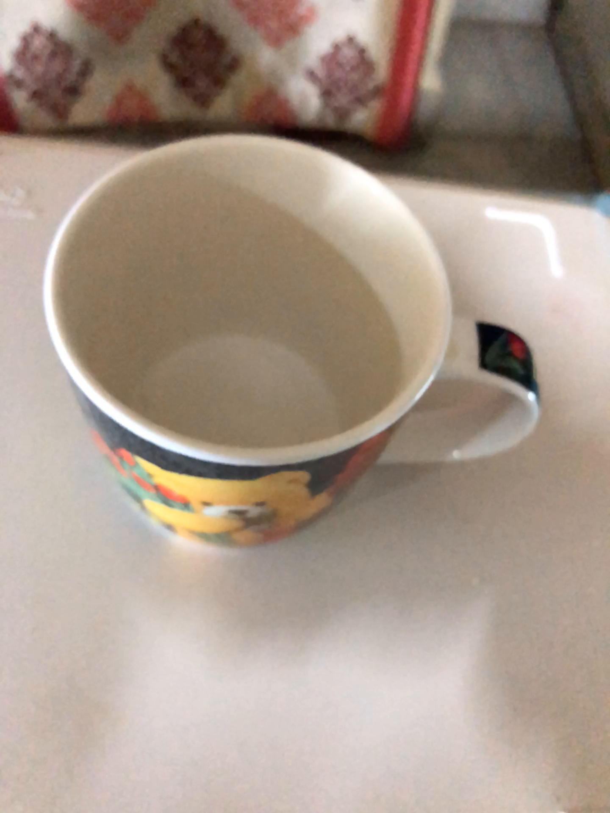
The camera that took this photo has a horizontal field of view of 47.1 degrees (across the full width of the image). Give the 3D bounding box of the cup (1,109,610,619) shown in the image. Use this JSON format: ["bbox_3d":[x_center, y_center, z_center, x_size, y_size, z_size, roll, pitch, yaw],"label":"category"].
[{"bbox_3d":[0.009,-0.002,0.189,0.130,0.100,0.080,7,60,-4],"label":"cup"}]
